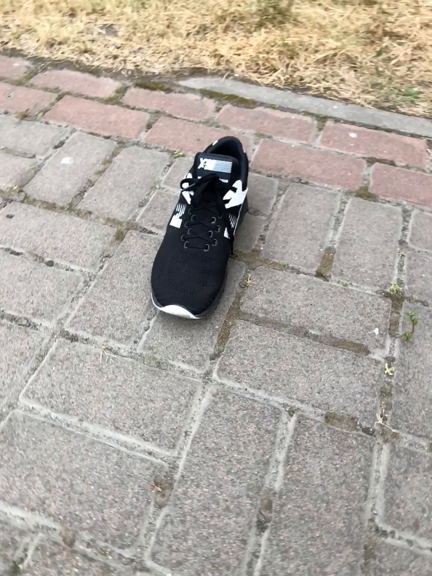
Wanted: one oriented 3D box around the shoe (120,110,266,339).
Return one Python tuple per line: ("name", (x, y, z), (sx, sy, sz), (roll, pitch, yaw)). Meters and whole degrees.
("shoe", (-0.017, -0.094, 0.622), (0.100, 0.129, 0.282), (13, 51, 8))
